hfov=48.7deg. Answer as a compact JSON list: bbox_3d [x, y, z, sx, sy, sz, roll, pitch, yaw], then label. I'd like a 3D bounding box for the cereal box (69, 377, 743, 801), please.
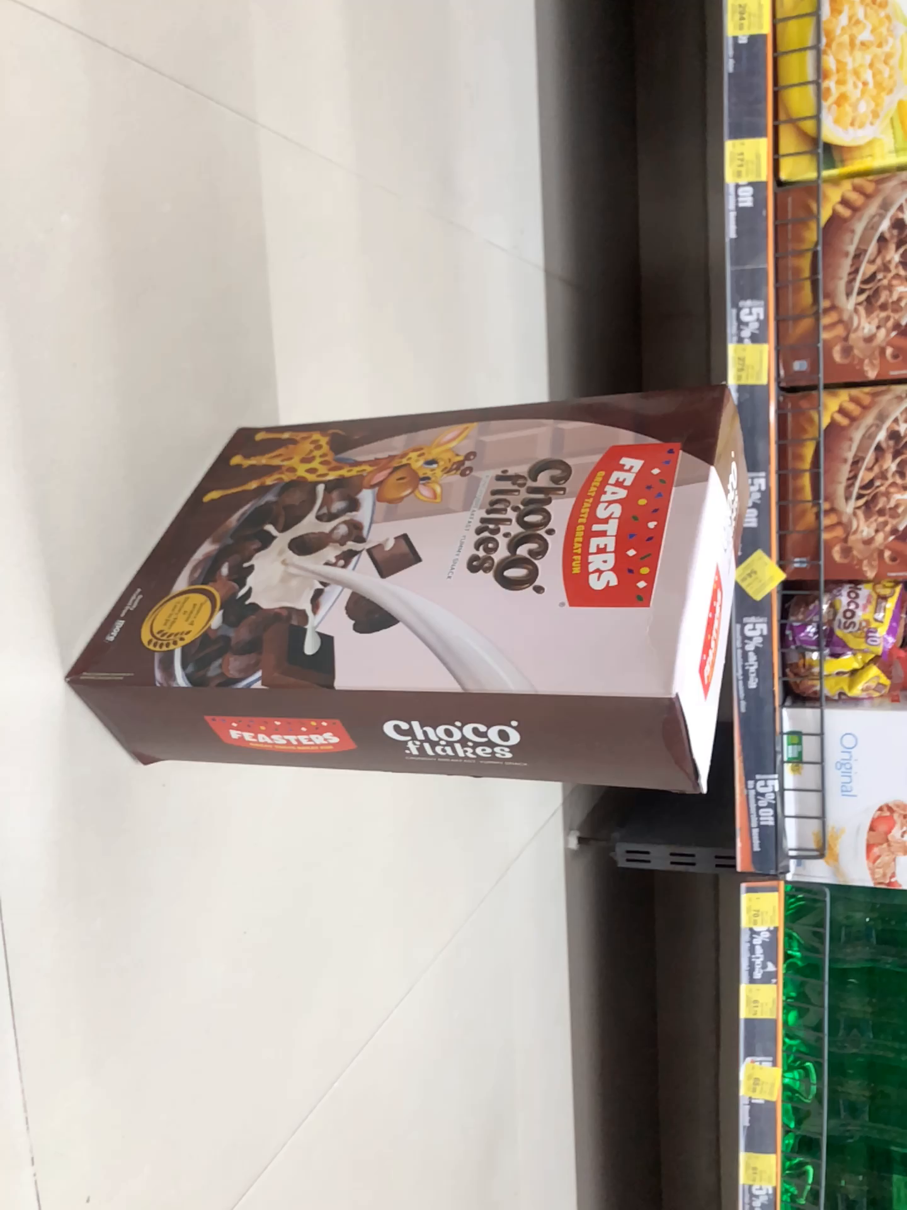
[{"bbox_3d":[-0.010,-0.015,0.461,0.060,0.258,0.190,70,28,-41],"label":"cereal box"}]
